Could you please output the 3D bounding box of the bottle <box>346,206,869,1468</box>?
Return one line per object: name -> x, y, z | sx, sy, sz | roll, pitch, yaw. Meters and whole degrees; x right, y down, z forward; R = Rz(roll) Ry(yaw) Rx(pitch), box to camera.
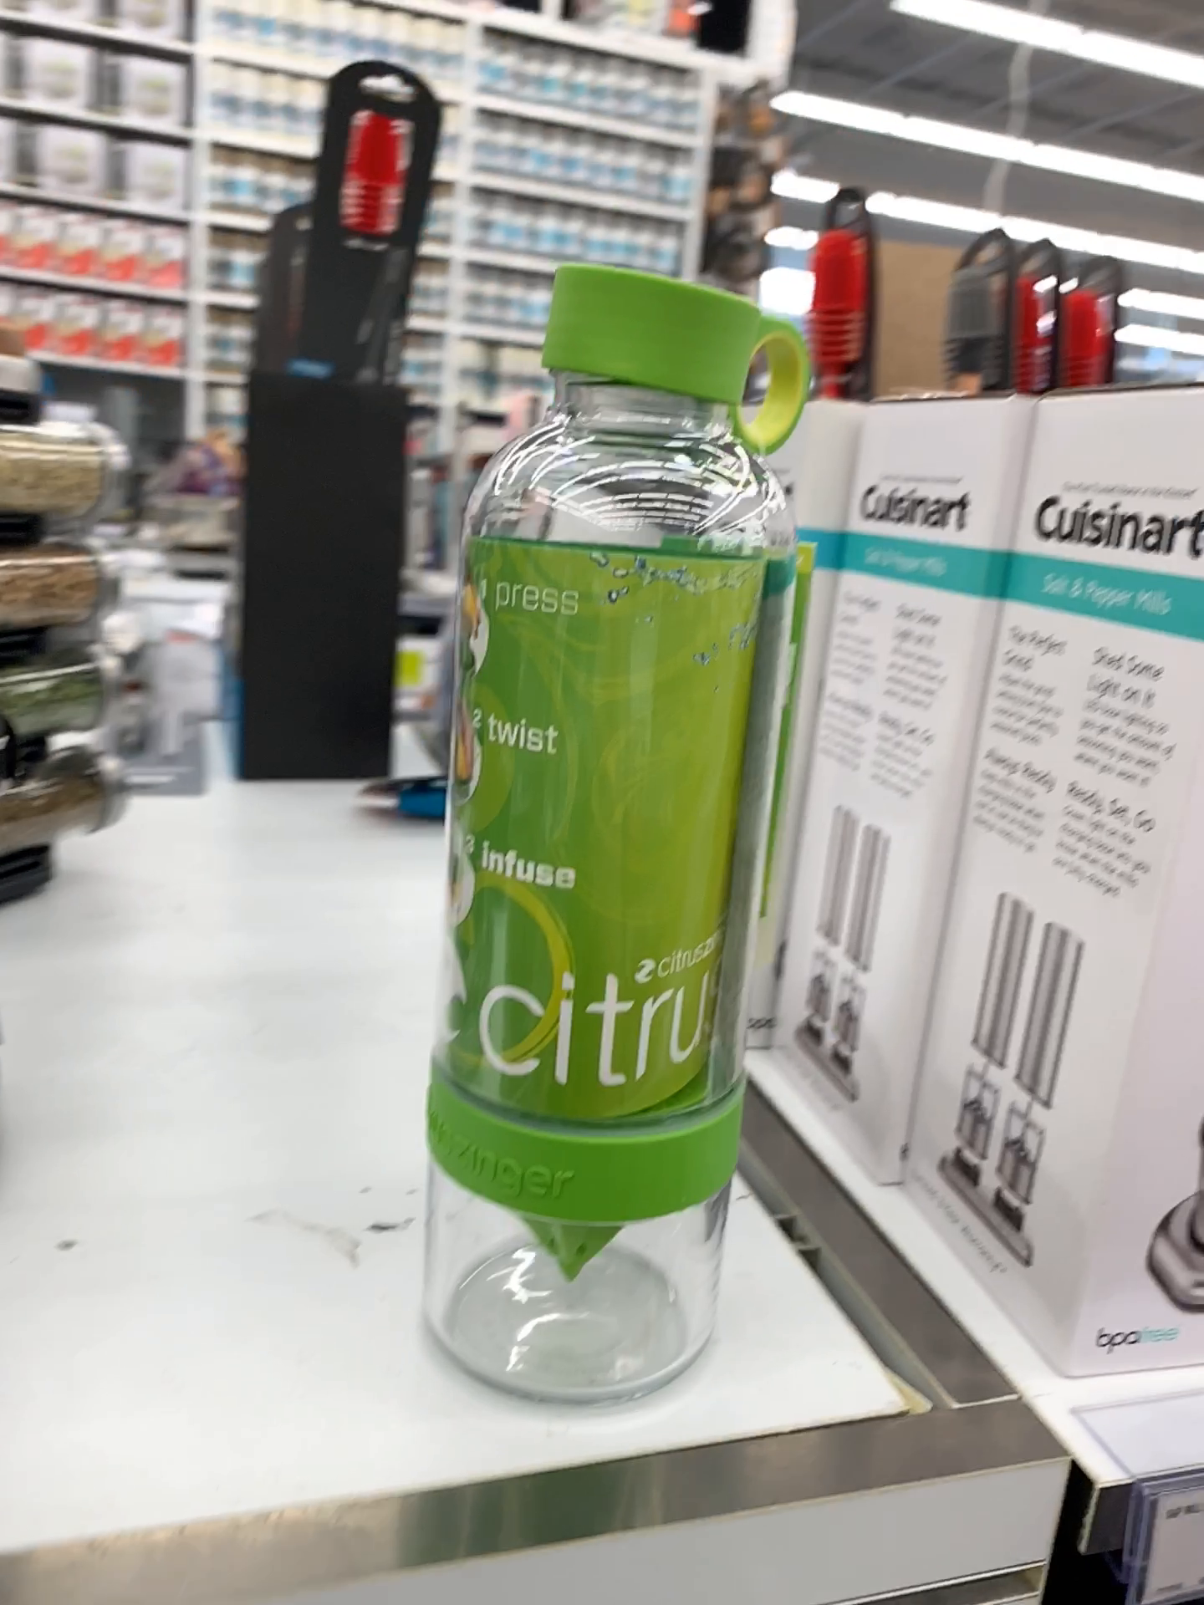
bottle -> 0.001, 0.008, 0.290 | 0.078, 0.250, 0.081 | 5, 13, -1
